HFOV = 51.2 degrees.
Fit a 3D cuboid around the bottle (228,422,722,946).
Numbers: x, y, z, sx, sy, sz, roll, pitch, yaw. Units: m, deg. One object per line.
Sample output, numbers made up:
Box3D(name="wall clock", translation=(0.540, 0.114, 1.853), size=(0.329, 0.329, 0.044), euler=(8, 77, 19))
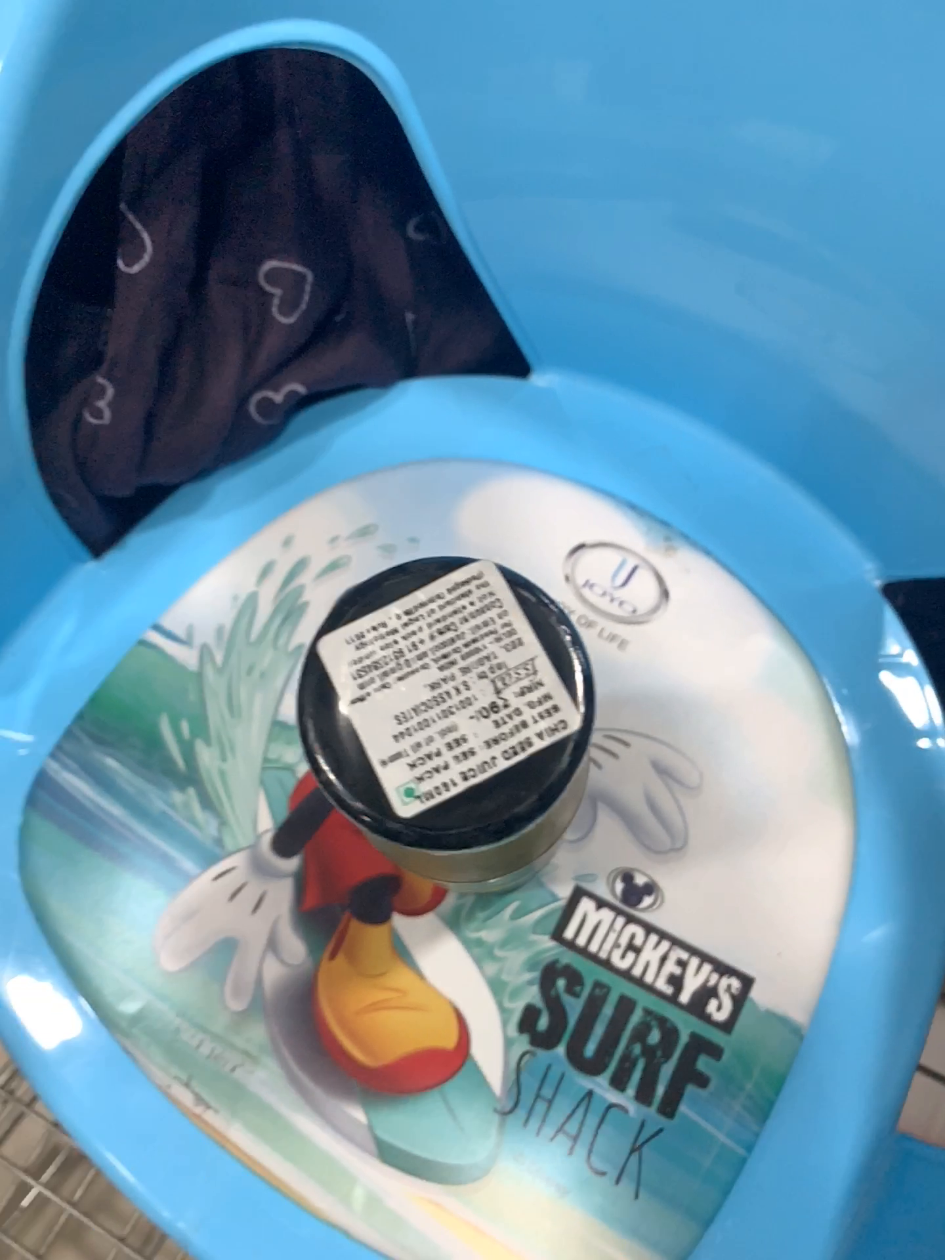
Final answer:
Box3D(name="bottle", translation=(0.001, 0.025, 0.205), size=(0.050, 0.140, 0.050), euler=(0, 69, 0))
